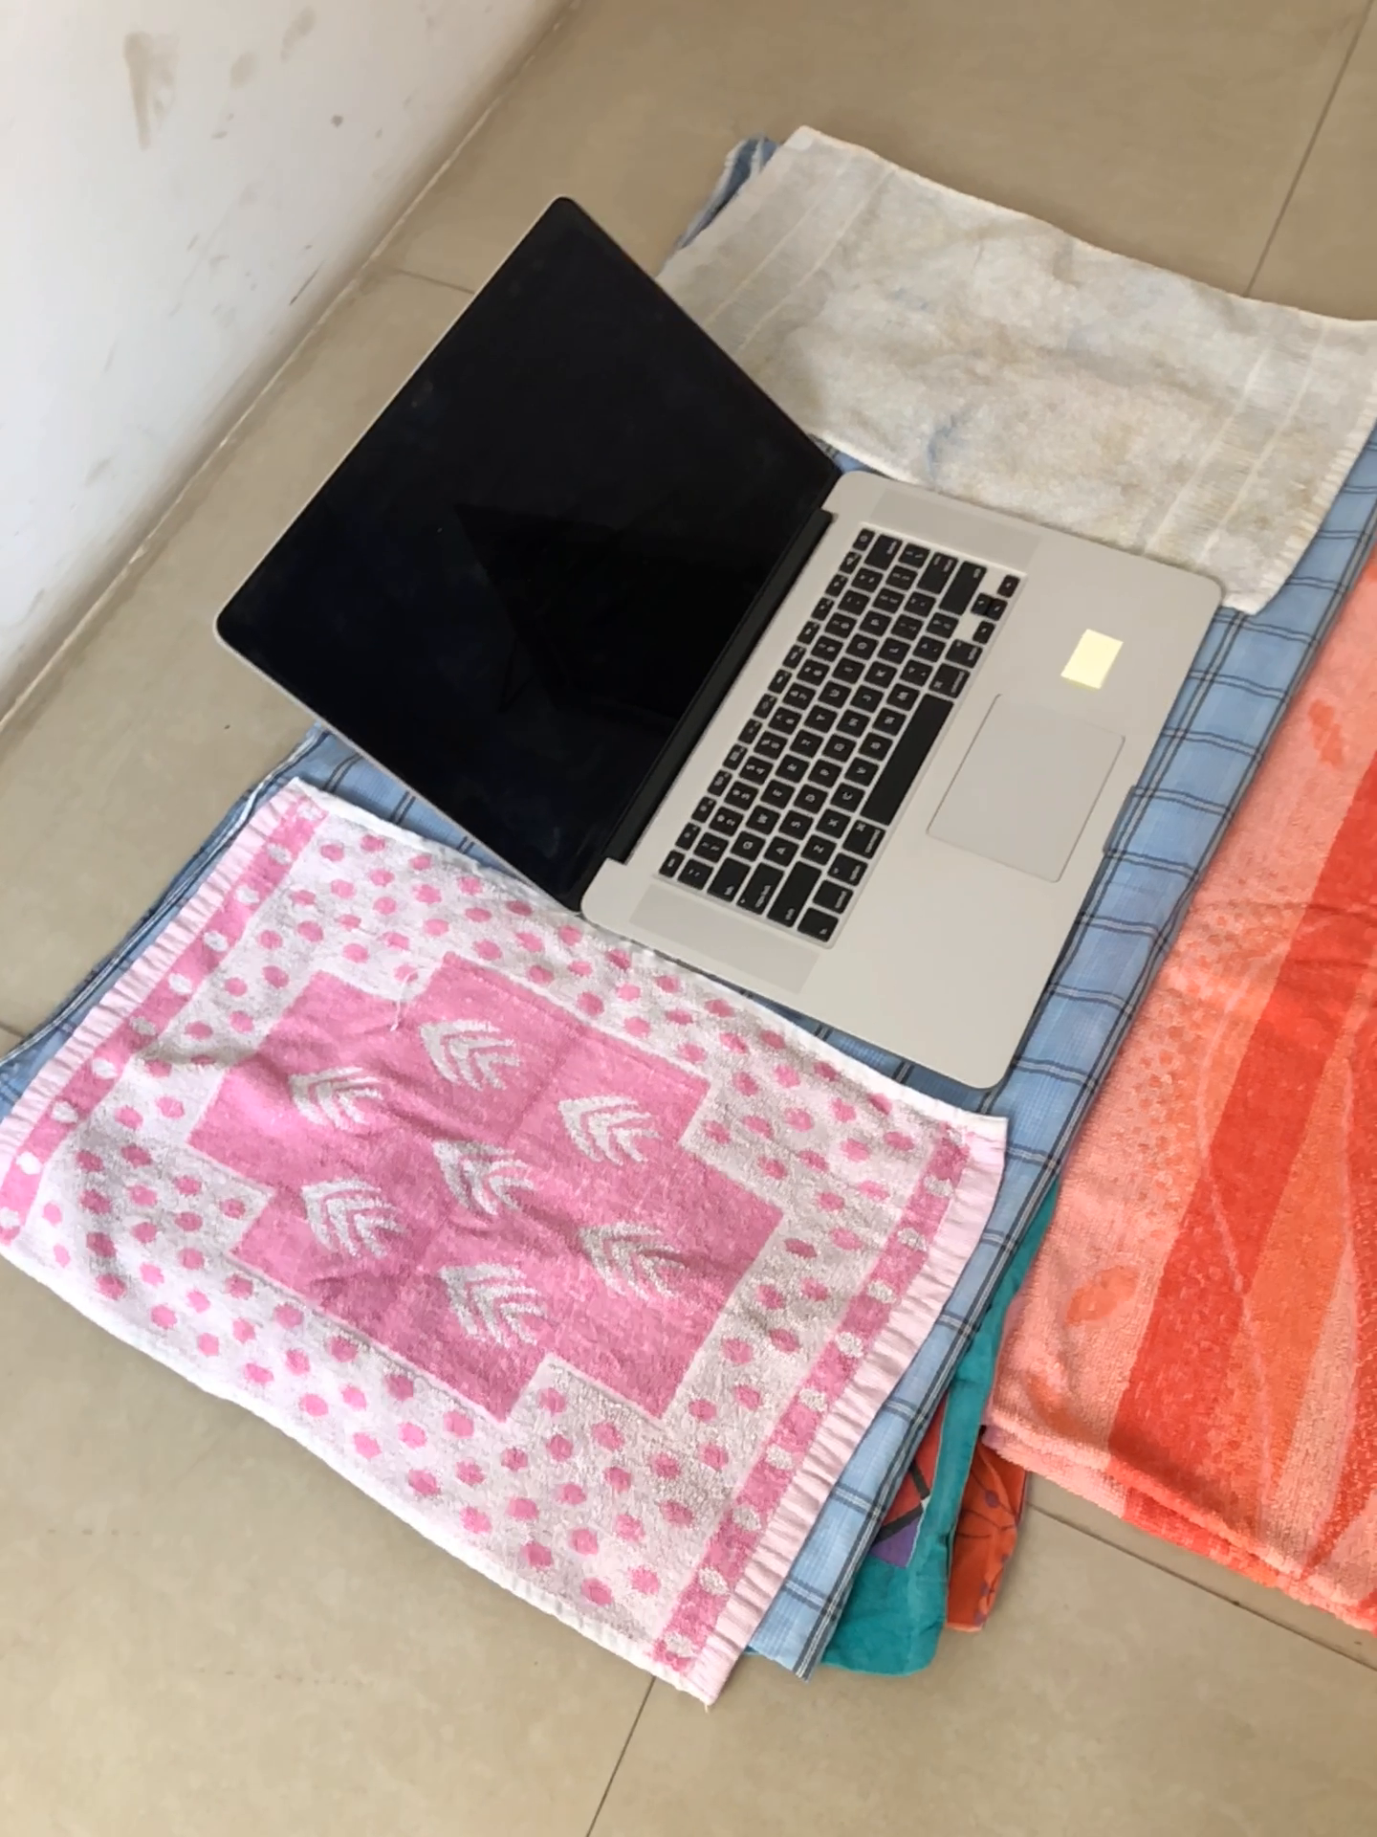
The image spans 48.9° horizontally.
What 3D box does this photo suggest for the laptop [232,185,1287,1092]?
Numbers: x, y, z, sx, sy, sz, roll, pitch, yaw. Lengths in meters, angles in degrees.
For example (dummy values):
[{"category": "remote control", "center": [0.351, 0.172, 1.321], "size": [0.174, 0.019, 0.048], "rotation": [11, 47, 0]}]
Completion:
[{"category": "laptop", "center": [0.041, -0.166, 0.809], "size": [0.413, 0.144, 0.344], "rotation": [23, 68, 16]}]
